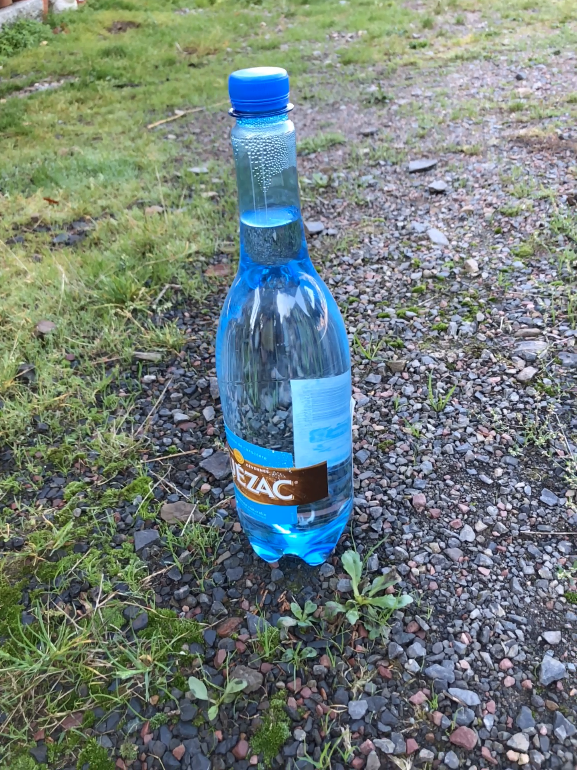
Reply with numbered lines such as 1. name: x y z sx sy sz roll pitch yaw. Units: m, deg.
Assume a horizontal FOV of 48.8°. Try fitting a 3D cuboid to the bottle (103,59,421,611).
1. bottle: -0.002 -0.019 0.388 0.110 0.298 0.110 -4 36 3
